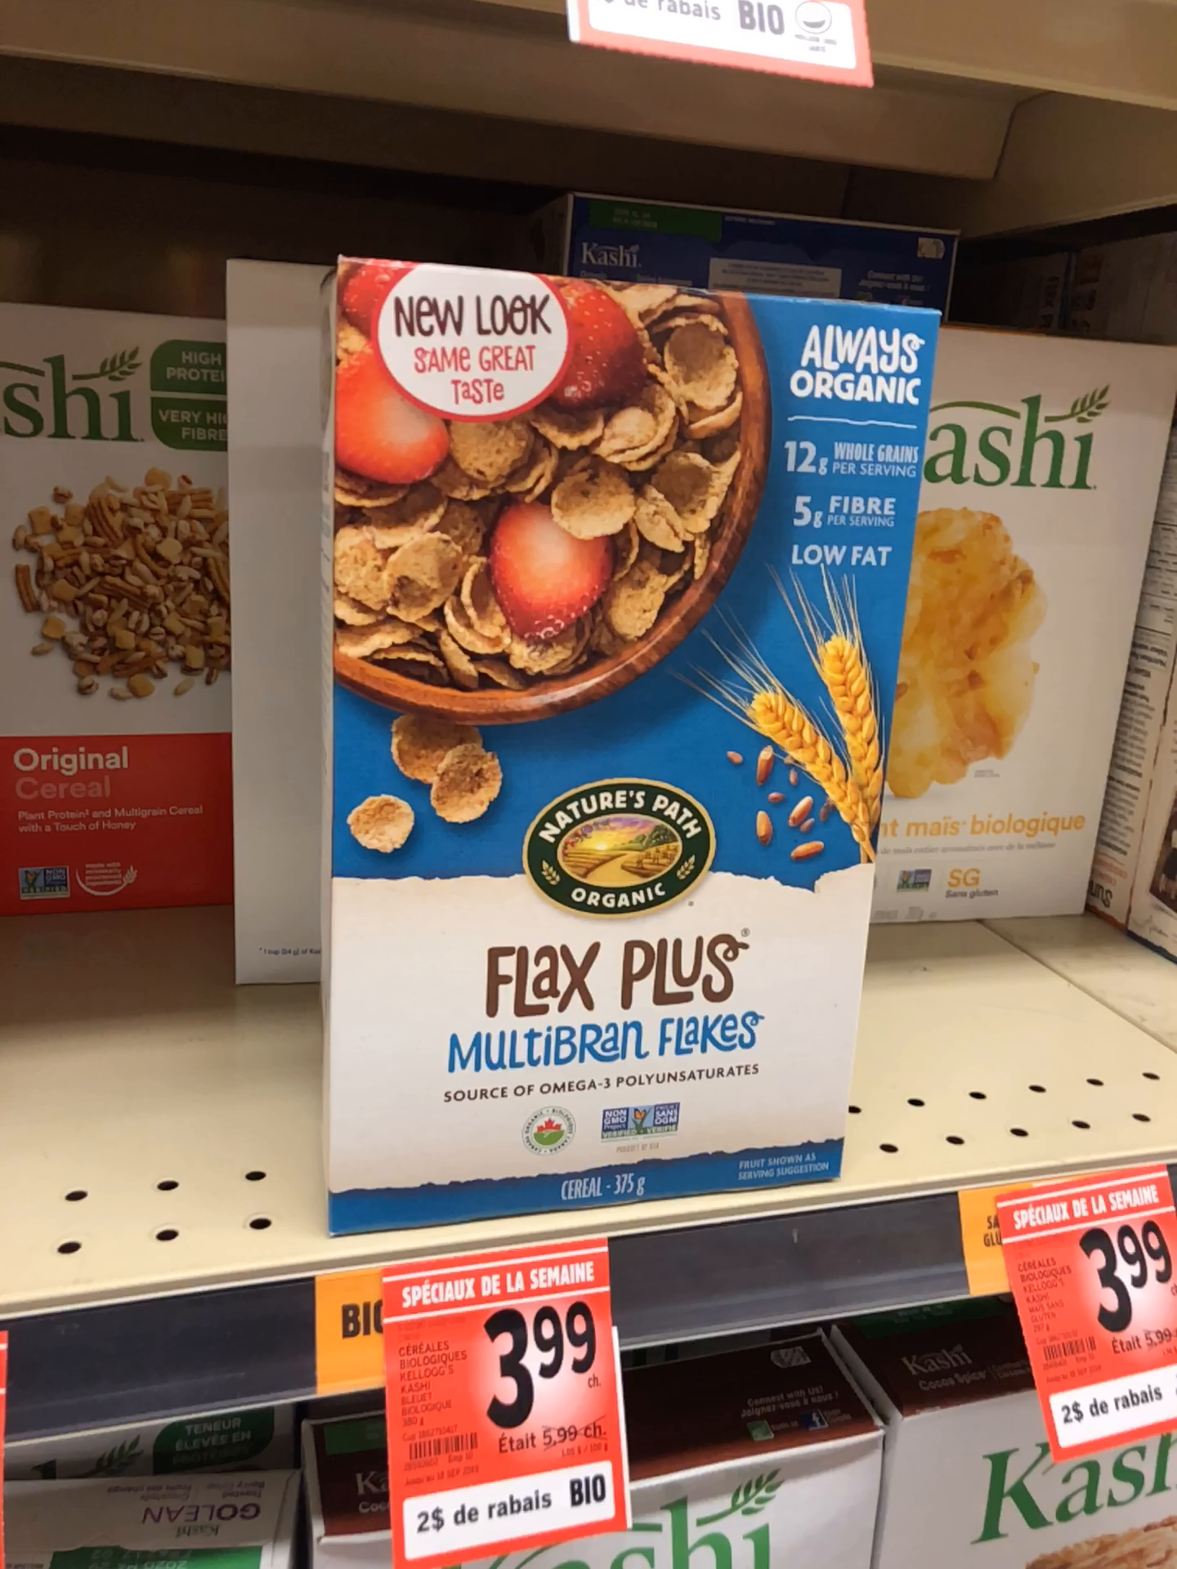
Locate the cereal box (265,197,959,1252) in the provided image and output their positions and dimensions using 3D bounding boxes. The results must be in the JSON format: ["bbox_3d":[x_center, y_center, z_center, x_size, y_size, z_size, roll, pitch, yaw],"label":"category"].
[{"bbox_3d":[-0.005,-0.012,0.376,0.170,0.269,0.070,-1,16,-15],"label":"cereal box"}]
